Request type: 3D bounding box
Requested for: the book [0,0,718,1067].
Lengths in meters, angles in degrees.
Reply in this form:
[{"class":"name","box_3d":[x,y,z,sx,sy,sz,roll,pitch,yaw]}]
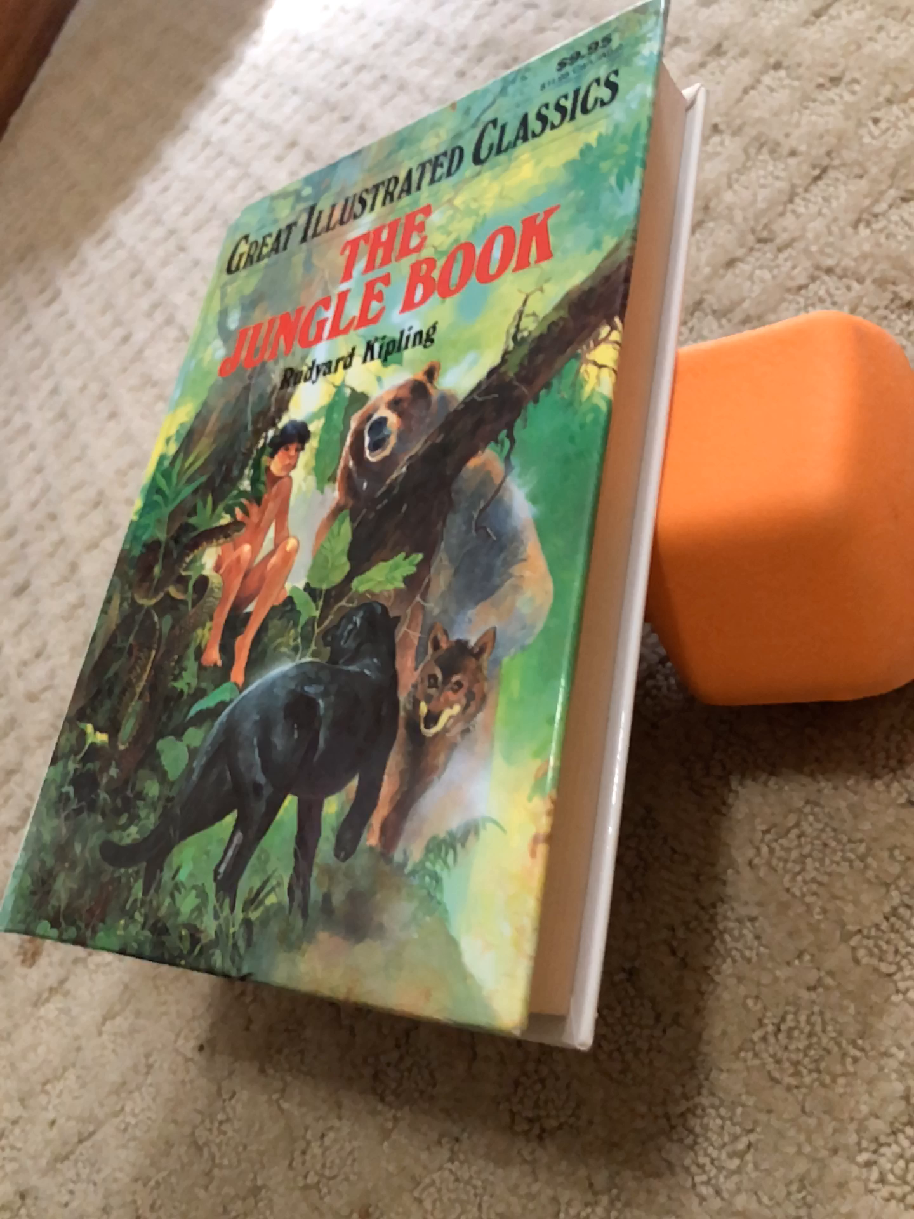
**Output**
[{"class":"book","box_3d":[-0.024,-0.026,0.224,0.140,0.029,0.208,-6,63,37]}]
